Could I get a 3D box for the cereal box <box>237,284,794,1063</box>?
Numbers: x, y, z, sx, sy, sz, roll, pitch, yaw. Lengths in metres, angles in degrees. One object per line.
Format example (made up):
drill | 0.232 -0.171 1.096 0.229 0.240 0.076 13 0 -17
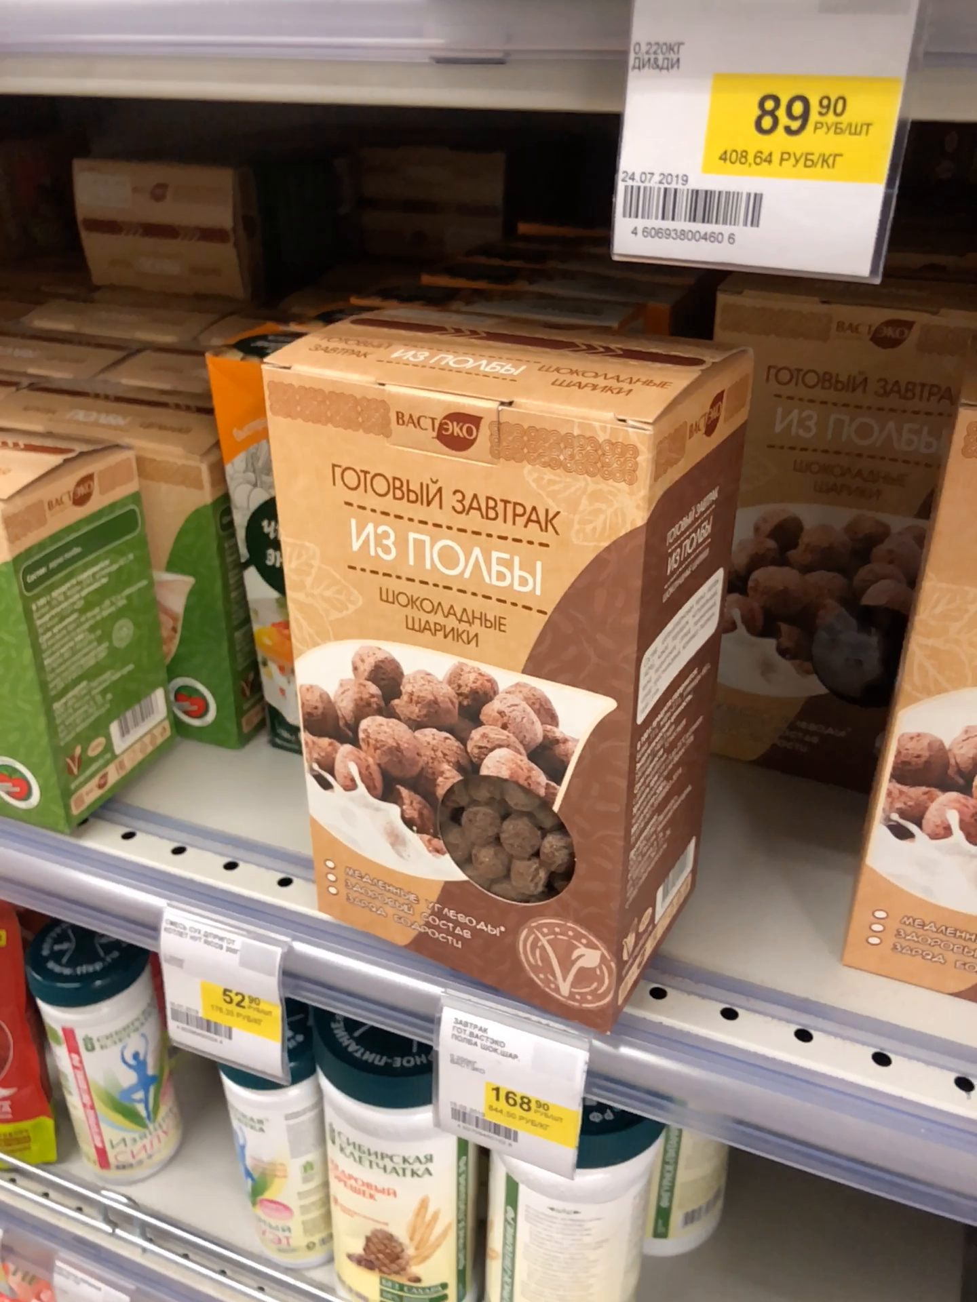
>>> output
cereal box | 0.007 0.004 0.347 0.130 0.209 0.080 16 32 25
